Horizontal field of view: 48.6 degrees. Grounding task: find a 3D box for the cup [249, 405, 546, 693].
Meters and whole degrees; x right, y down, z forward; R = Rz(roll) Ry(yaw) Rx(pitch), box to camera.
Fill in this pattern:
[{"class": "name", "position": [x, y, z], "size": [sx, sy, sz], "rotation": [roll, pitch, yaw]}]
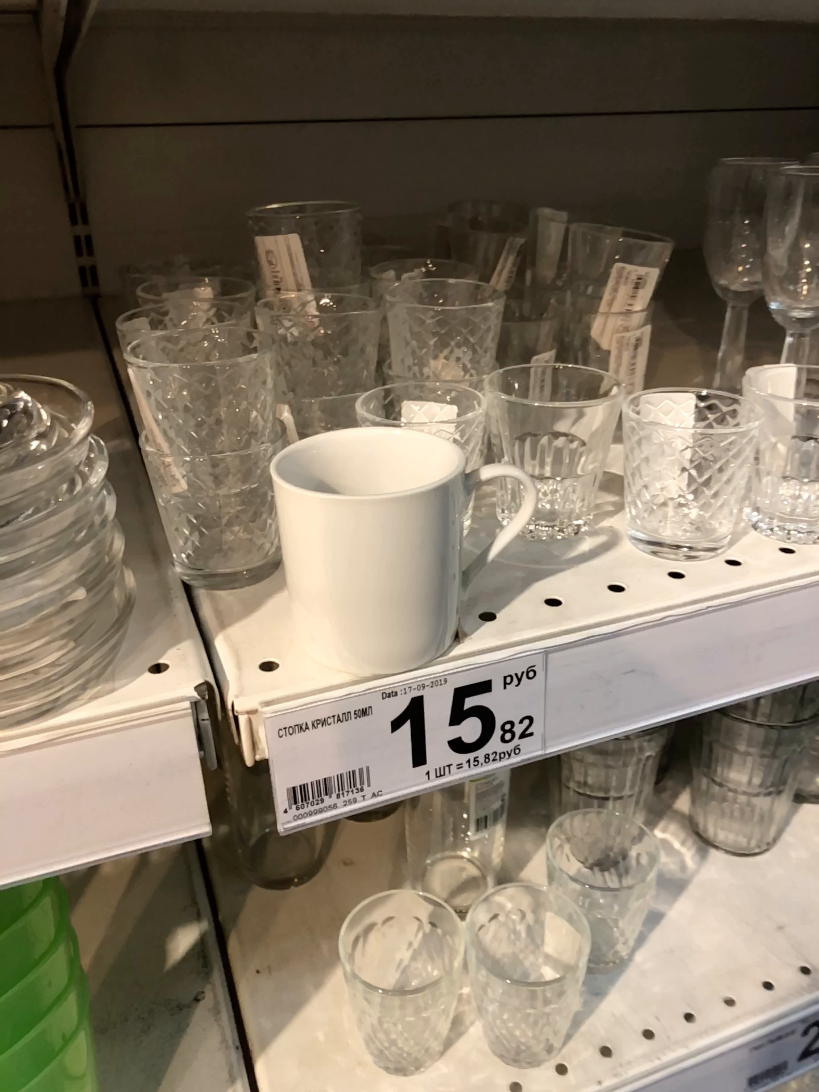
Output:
[{"class": "cup", "position": [-0.006, -0.002, 0.278], "size": [0.074, 0.060, 0.057], "rotation": [-8, 28, -14]}]
